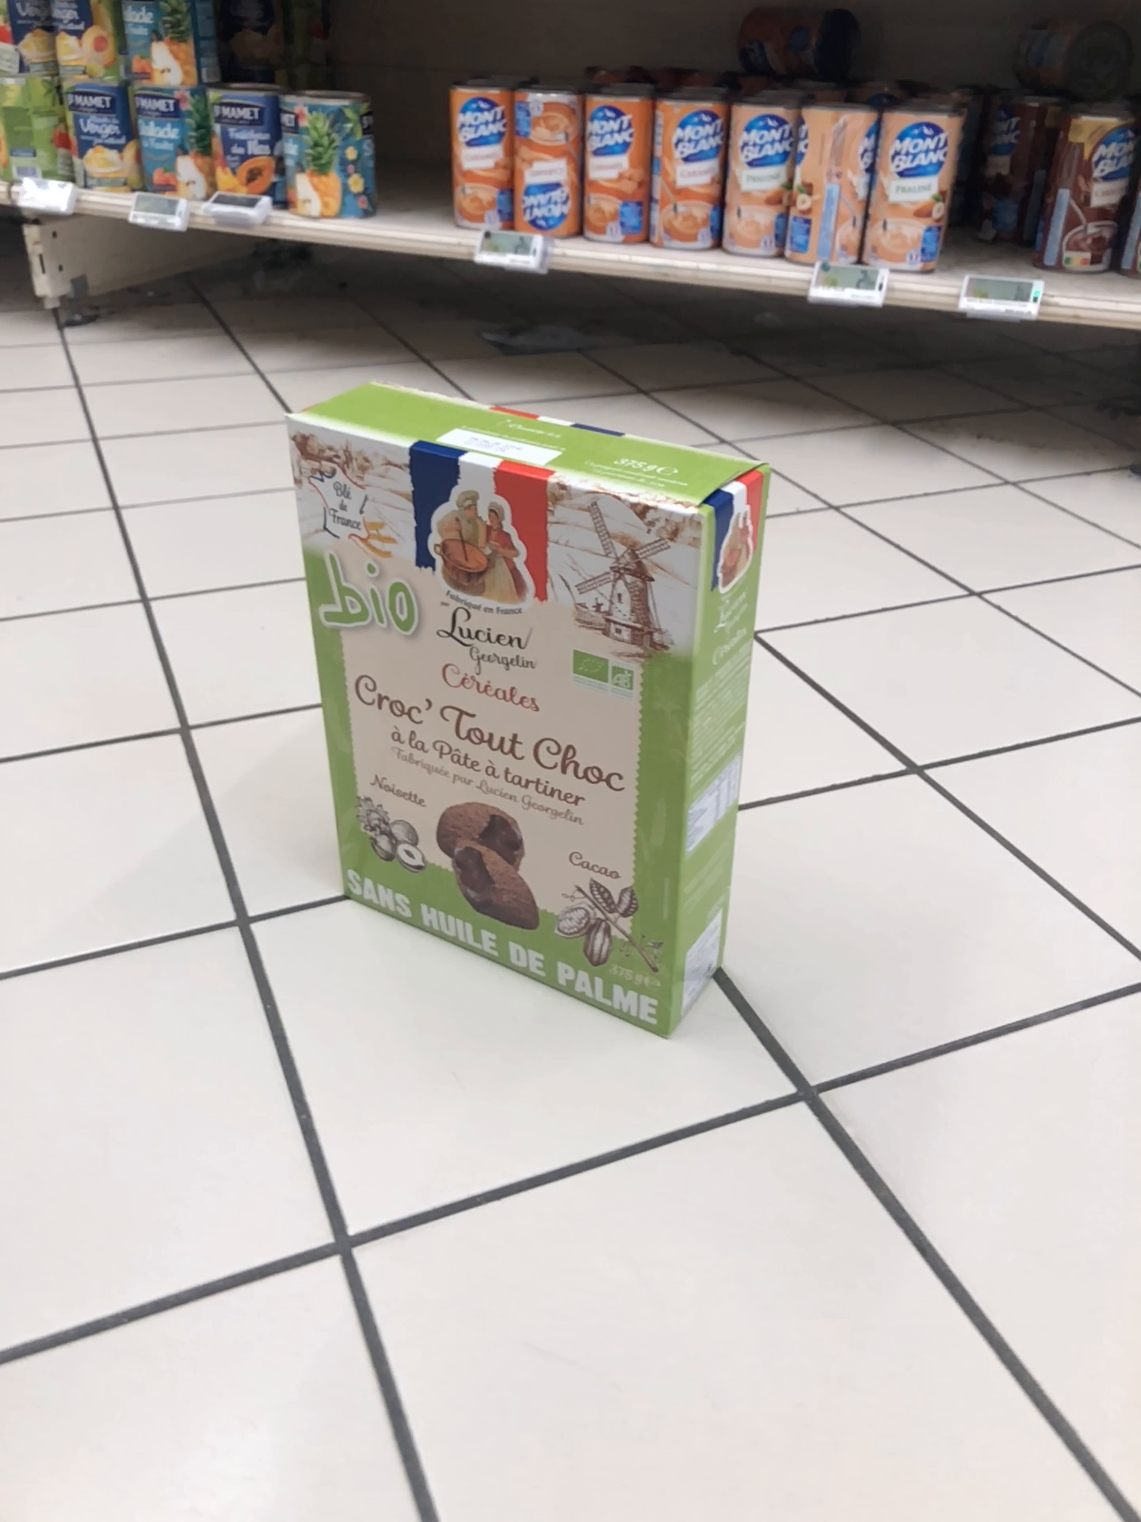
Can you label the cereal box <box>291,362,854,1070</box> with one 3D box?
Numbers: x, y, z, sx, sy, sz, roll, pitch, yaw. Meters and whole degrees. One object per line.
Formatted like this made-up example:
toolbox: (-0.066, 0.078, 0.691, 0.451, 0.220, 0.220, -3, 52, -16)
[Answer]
cereal box: (-0.007, -0.023, 0.532, 0.200, 0.239, 0.080, 20, 35, 27)
